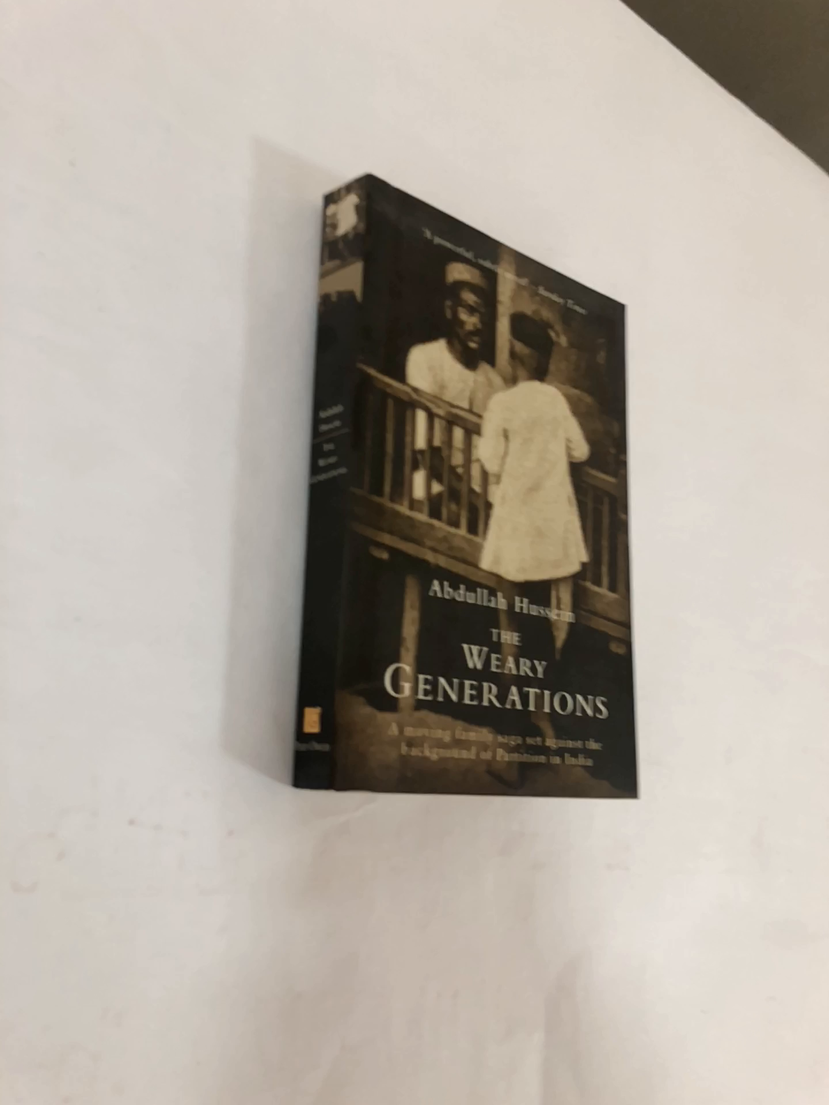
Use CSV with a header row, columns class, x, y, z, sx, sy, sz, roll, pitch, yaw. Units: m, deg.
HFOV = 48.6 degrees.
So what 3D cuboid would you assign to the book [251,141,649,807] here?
class,x,y,z,sx,sy,sz,roll,pitch,yaw
book,0.020,-0.017,0.316,0.141,0.030,0.200,12,72,-37
